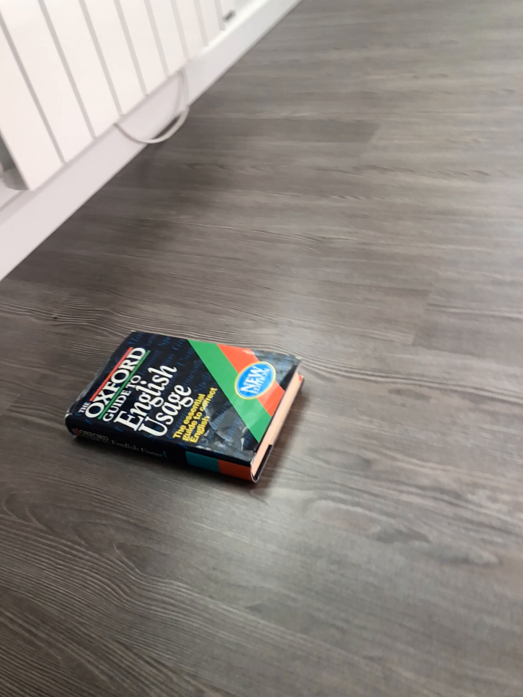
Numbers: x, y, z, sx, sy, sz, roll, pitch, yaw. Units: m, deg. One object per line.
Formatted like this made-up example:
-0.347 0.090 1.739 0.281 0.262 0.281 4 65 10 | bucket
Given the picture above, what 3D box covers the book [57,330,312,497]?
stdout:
-0.081 0.059 0.621 0.229 0.035 0.151 9 47 23 | book
